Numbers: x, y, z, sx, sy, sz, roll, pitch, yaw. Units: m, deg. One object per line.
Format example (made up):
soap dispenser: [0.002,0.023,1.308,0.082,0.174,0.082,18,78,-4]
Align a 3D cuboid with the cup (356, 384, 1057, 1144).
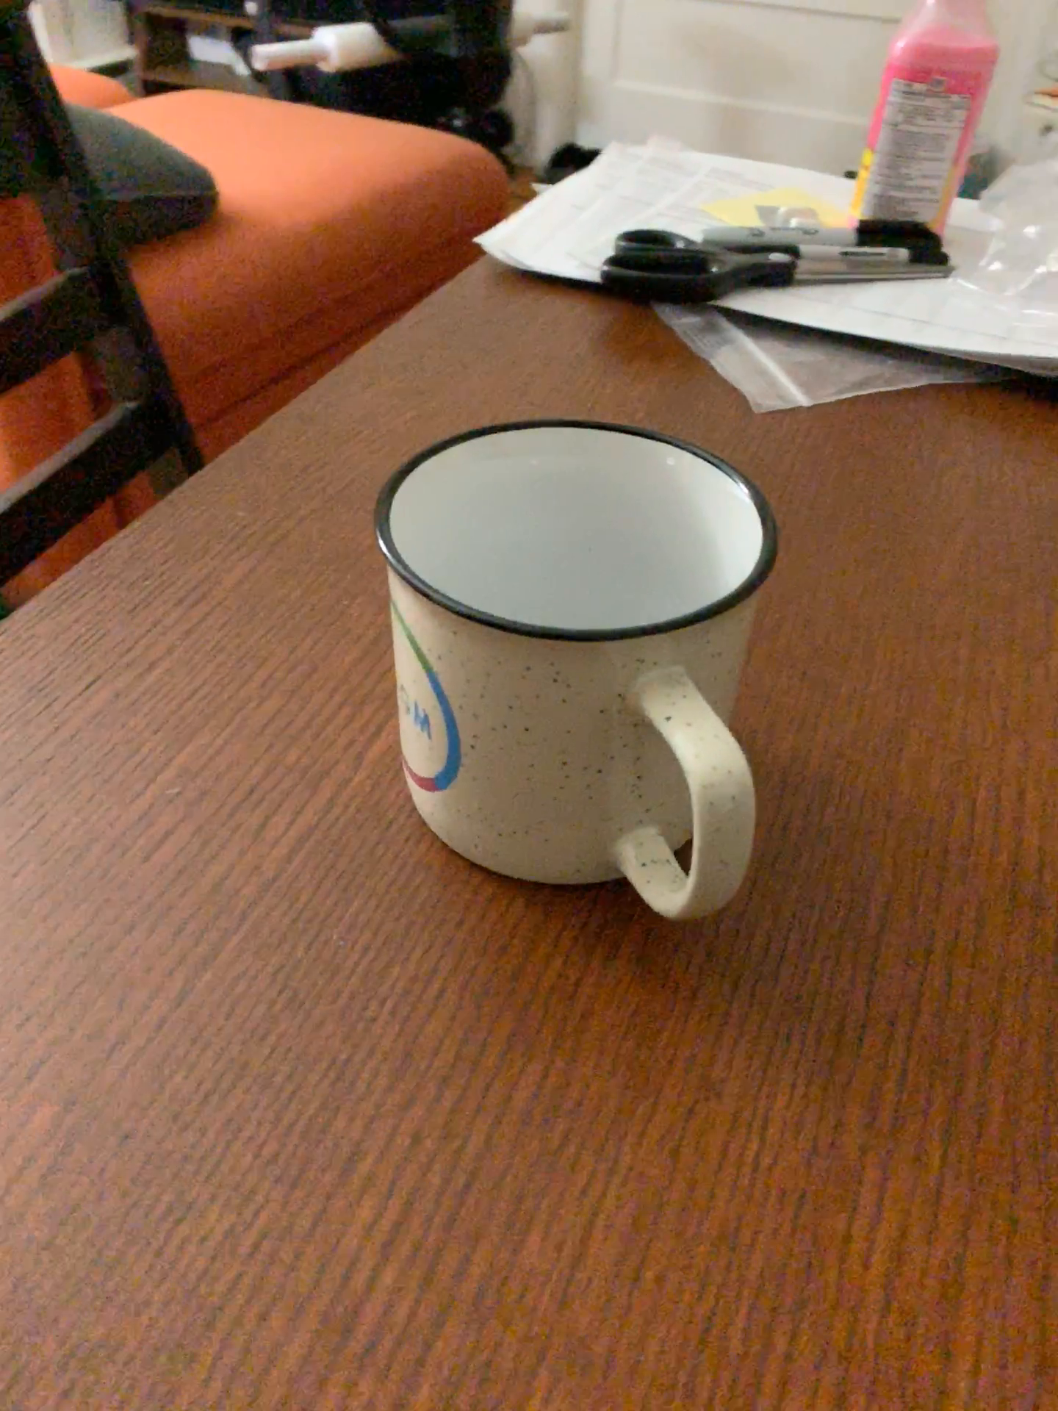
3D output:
cup: [0.027,0.003,0.279,0.100,0.099,0.151,-13,44,-17]
